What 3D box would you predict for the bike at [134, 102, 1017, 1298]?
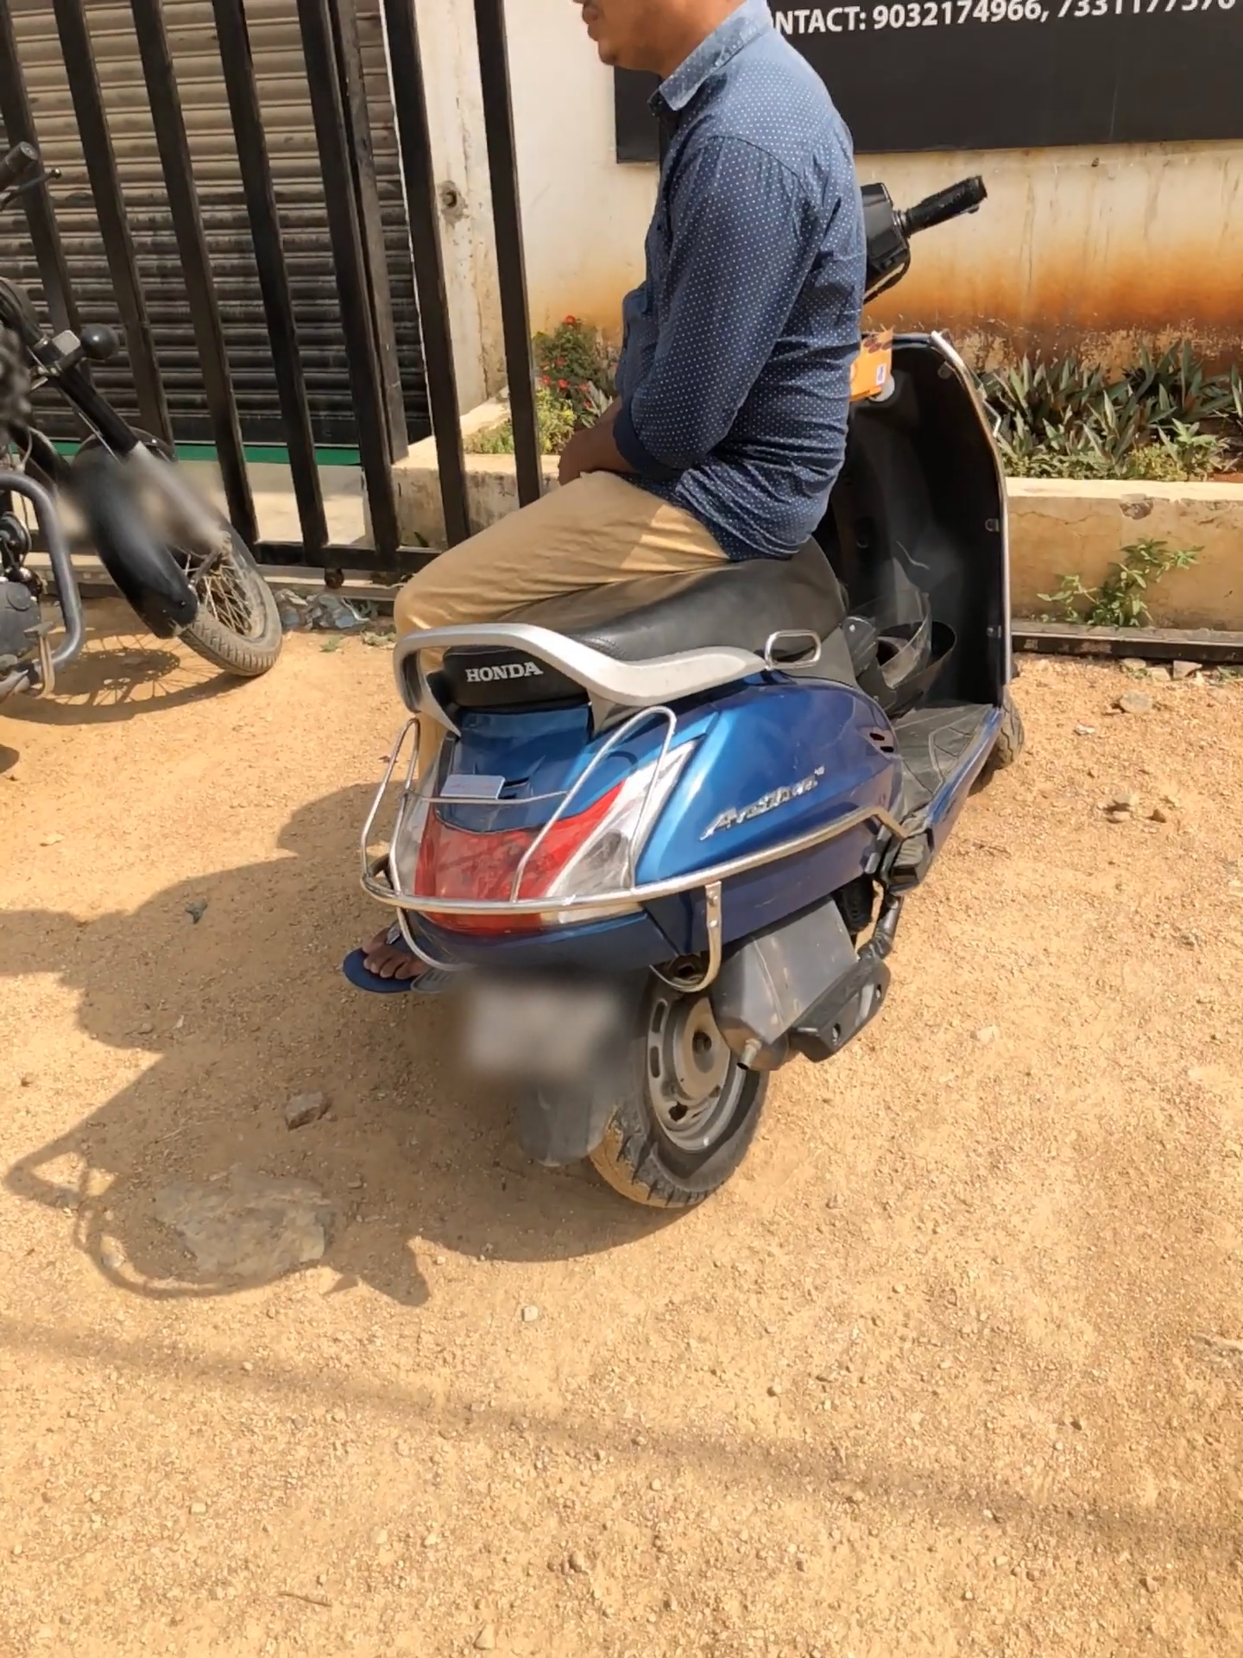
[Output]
[{"bbox_3d":[0.119,-0.392,2.068,0.621,1.115,1.558,9,33,21],"label":"bike"}]
